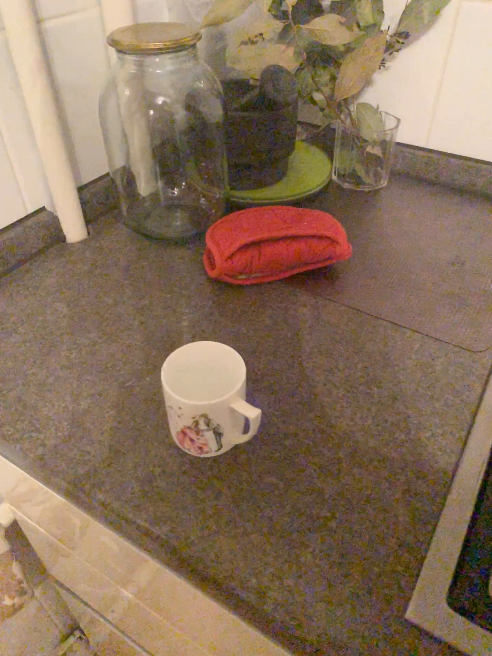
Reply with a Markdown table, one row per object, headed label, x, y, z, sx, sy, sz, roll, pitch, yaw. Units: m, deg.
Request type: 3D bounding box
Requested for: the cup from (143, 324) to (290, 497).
| label | x | y | z | sx | sy | sz | roll | pitch | yaw |
| --- | --- | --- | --- | --- | --- | --- | --- | --- | --- |
| cup | -0.020 | 0.056 | 0.358 | 0.060 | 0.069 | 0.080 | -33 | 50 | -32 |
